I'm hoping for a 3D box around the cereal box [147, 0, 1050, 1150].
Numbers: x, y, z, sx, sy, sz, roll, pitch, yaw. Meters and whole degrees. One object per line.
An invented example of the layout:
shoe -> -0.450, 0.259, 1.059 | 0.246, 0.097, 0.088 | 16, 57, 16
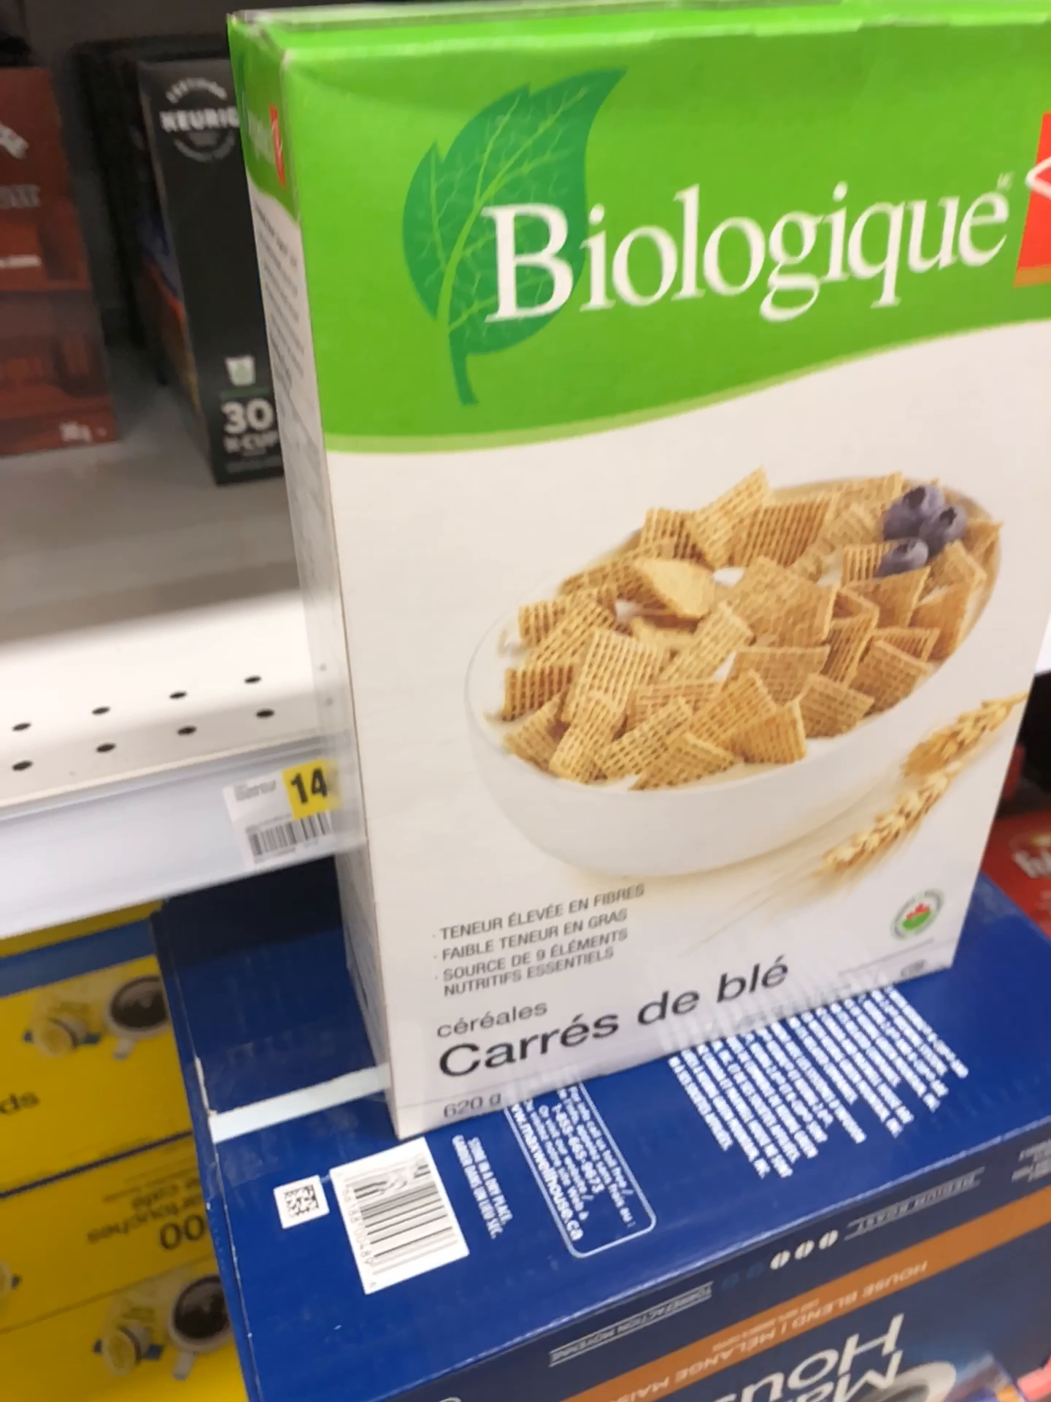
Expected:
cereal box -> 0.040, -0.029, 0.305 | 0.210, 0.289, 0.070 | -12, 38, -16
